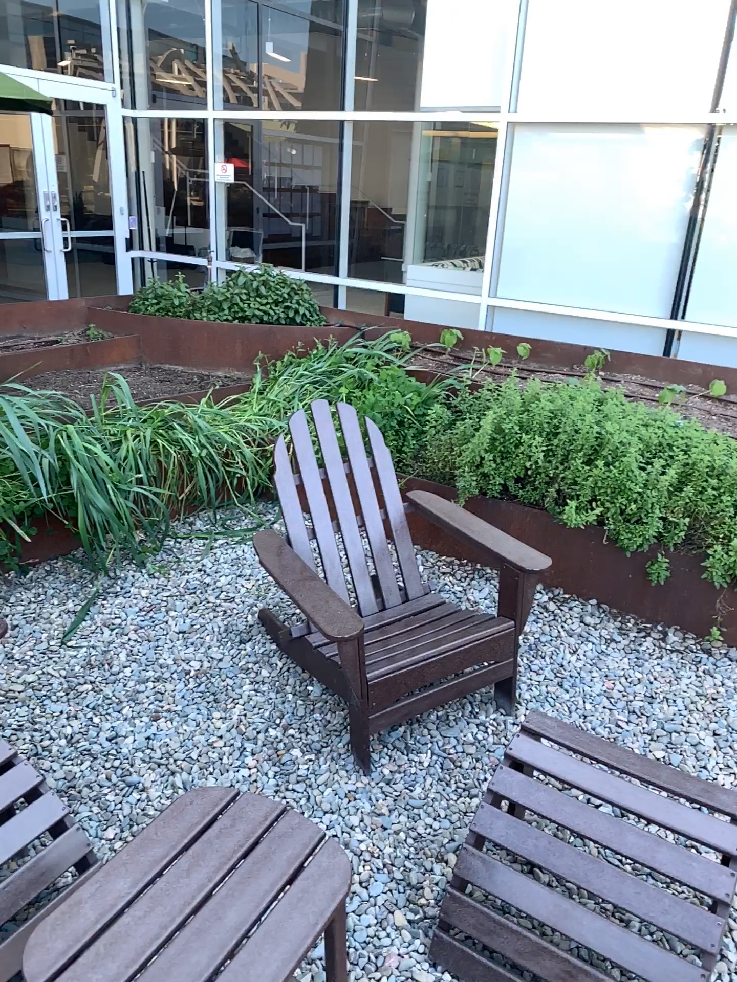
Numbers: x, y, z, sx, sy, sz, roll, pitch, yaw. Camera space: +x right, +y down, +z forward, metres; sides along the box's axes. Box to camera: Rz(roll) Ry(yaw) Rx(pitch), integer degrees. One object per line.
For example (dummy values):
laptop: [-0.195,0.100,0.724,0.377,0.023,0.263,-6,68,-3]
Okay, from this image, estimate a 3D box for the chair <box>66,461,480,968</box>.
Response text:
chair: [-0.373,0.575,2.406,1.000,0.995,1.005,-5,23,-19]
